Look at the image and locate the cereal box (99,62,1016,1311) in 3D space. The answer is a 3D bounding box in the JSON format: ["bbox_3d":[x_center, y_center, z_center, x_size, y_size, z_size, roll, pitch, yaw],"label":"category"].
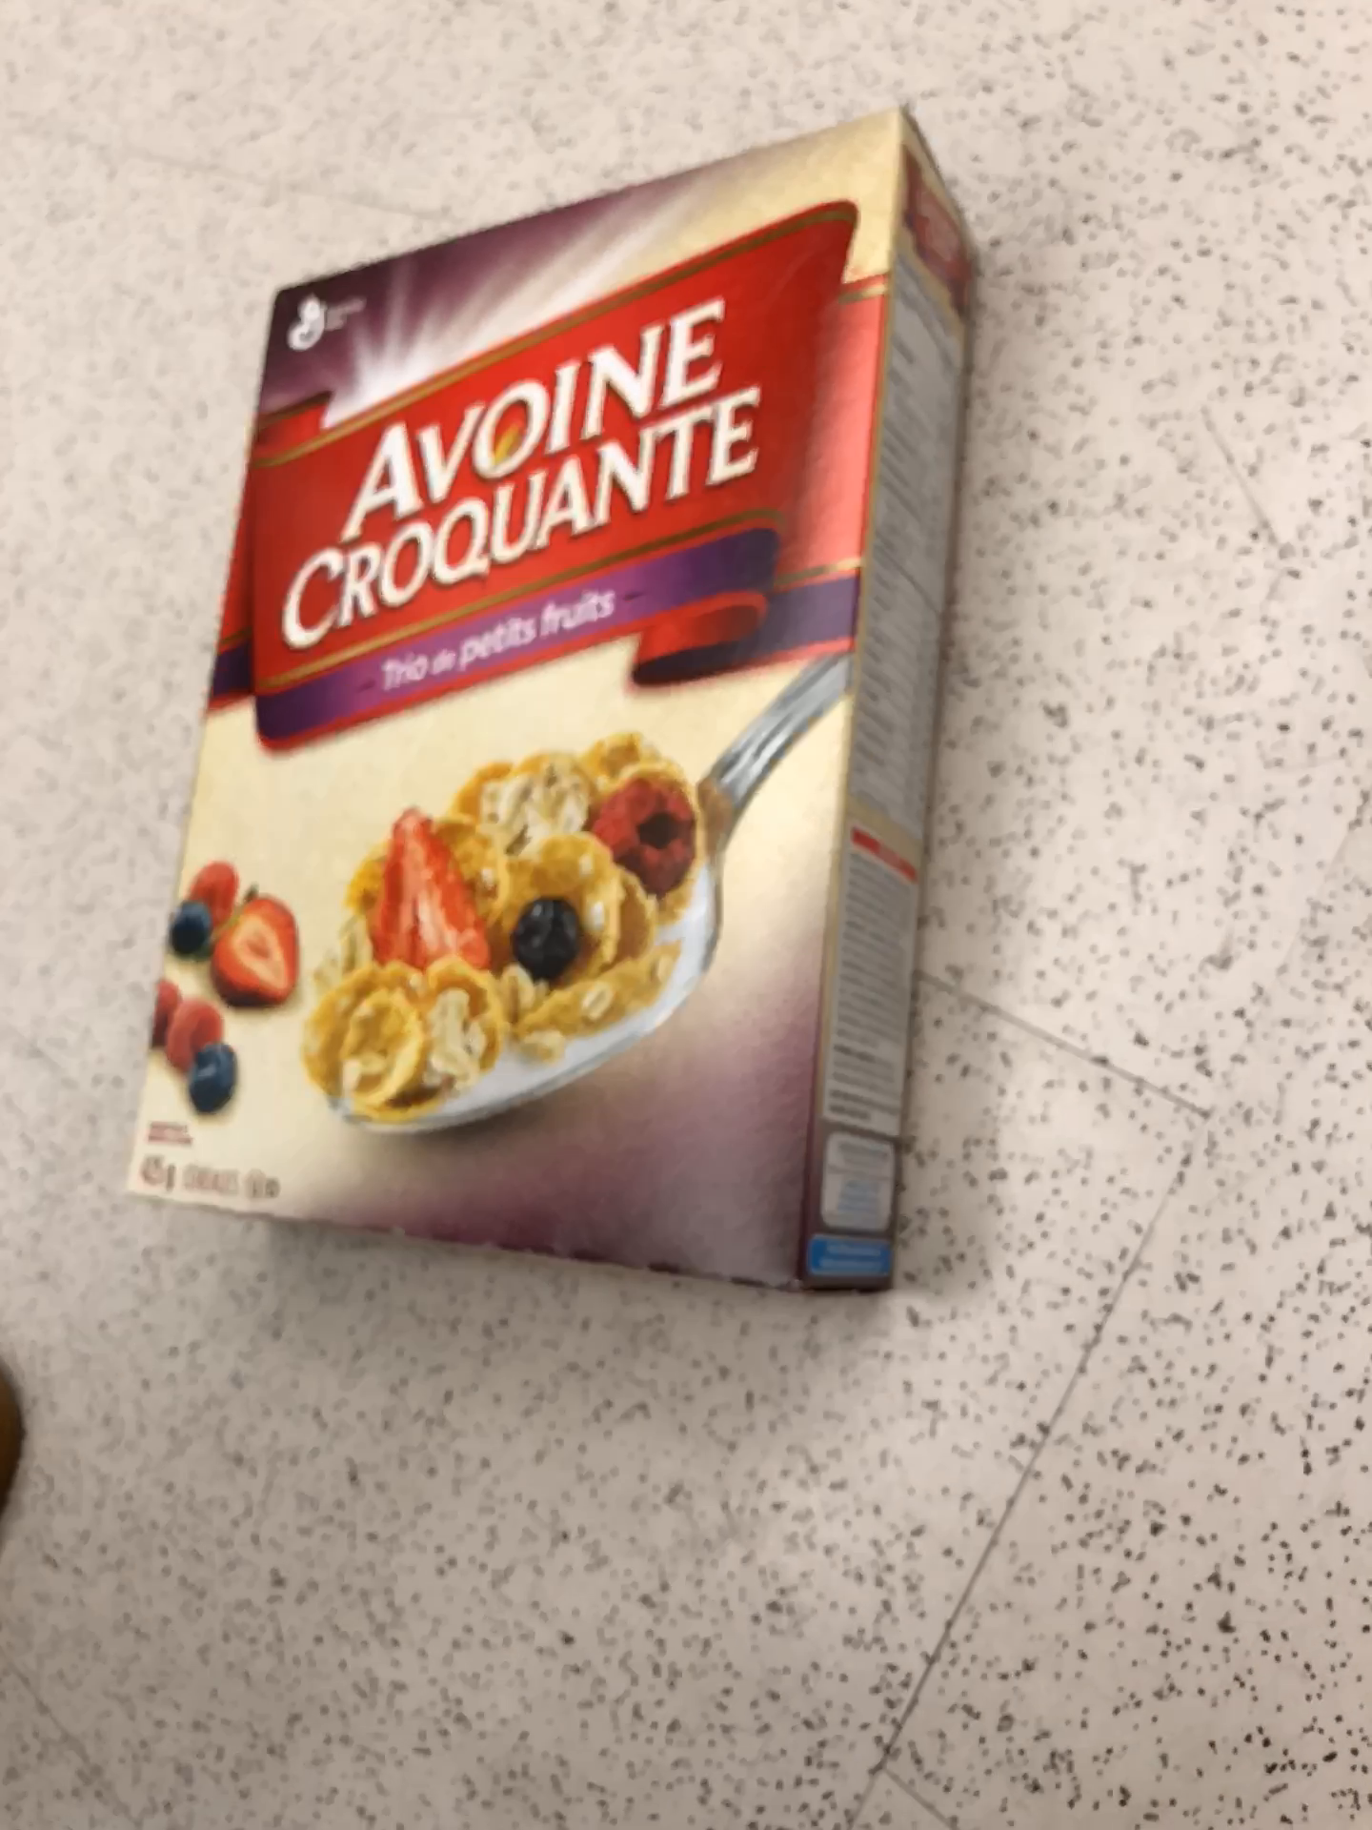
[{"bbox_3d":[-0.035,-0.050,0.398,0.211,0.060,0.270,0,78,31],"label":"cereal box"}]
